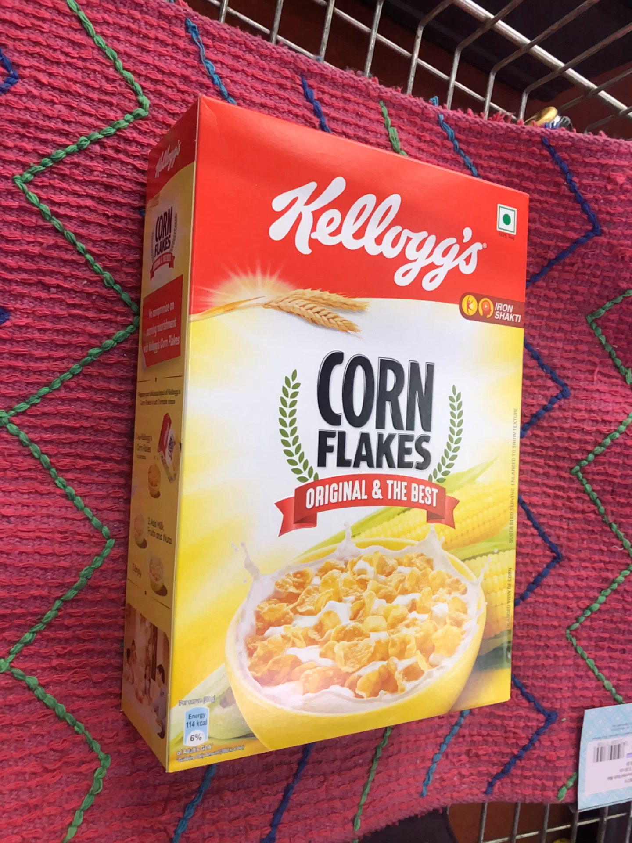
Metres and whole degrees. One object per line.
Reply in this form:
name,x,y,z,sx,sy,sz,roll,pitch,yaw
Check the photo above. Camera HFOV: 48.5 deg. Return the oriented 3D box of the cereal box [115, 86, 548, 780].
cereal box,0.013,0.007,0.340,0.191,0.070,0.260,3,90,-30
